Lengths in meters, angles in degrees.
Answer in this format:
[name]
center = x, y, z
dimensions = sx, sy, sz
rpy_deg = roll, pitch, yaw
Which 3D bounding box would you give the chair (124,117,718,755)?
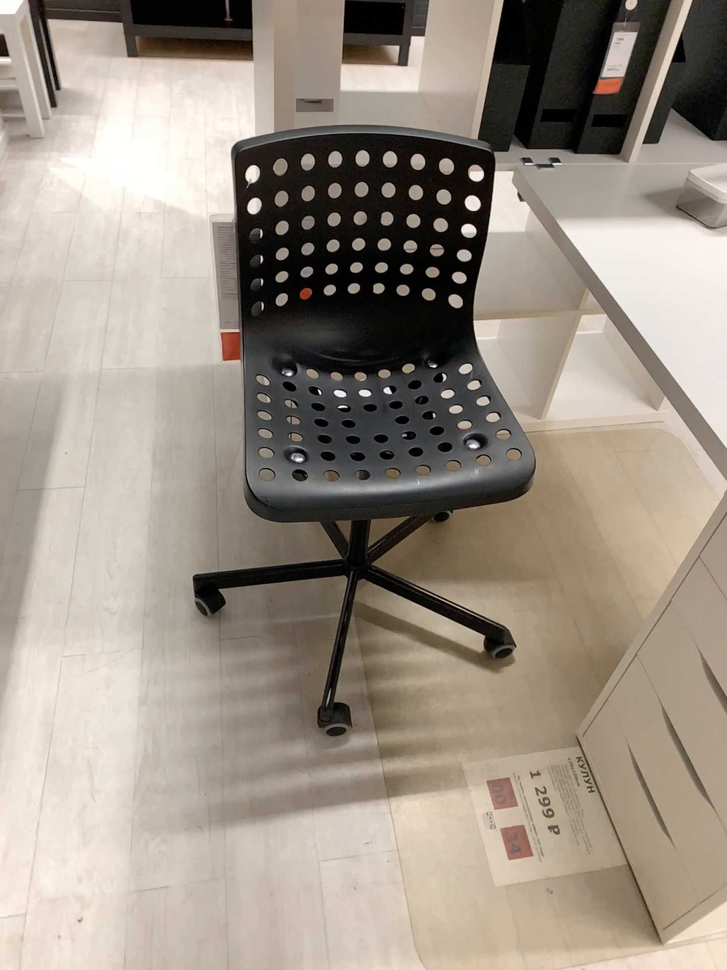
[chair]
center = -0.003, -0.083, 1.394
dimensions = 0.680, 0.866, 0.753
rpy_deg = -3, 47, -9
